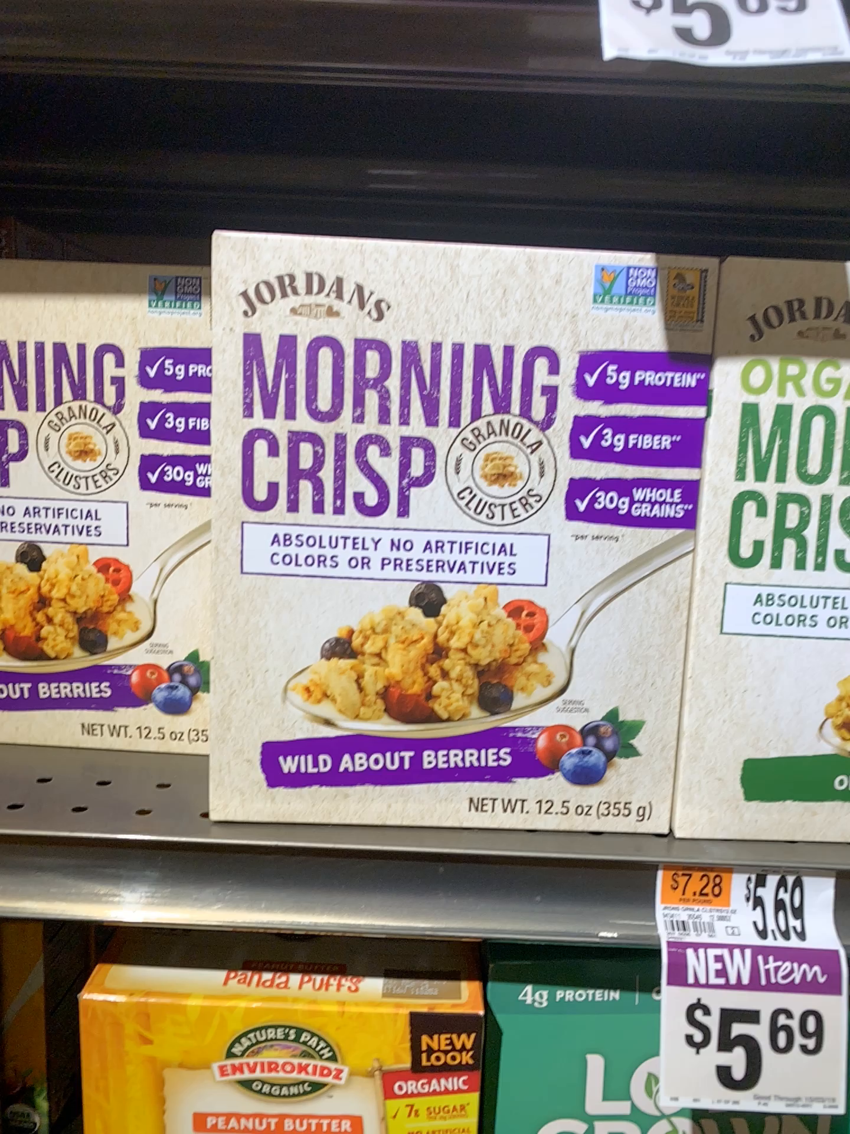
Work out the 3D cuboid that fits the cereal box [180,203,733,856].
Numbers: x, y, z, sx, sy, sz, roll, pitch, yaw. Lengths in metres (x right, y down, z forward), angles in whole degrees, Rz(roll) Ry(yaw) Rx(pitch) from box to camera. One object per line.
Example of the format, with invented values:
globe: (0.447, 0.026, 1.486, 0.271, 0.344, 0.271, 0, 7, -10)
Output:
cereal box: (0.007, -0.011, 0.330, 0.180, 0.220, 0.060, 2, 9, -1)
